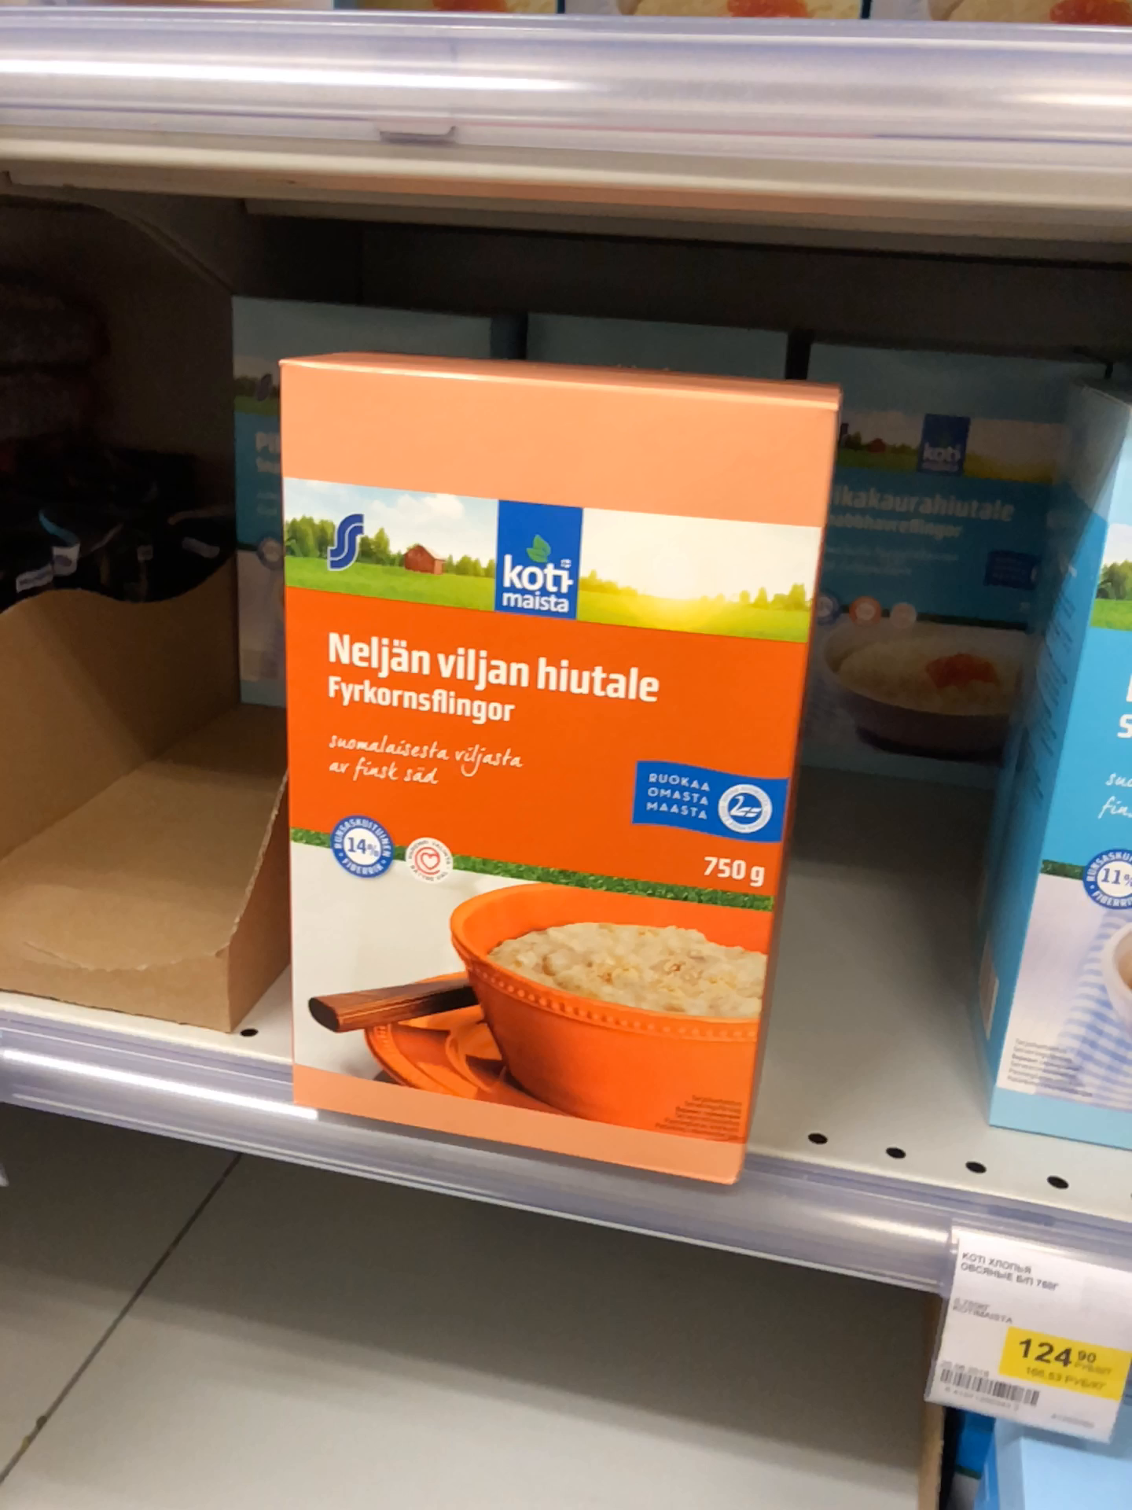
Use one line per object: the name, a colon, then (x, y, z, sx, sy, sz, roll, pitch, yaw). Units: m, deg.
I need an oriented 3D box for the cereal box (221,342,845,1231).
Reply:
cereal box: (-0.009, 0.004, 0.368, 0.150, 0.229, 0.080, 7, 19, 11)
